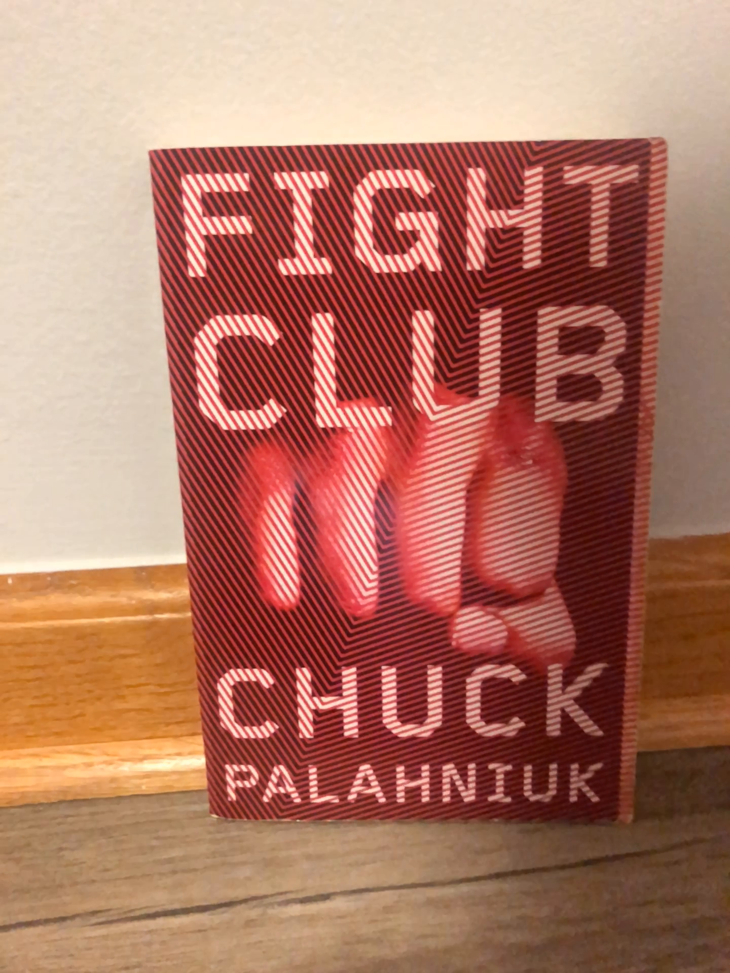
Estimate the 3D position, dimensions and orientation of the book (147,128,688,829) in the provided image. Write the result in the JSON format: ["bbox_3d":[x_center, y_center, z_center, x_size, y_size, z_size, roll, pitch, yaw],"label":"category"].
[{"bbox_3d":[0.015,0.006,0.252,0.138,0.210,0.030,-1,16,1],"label":"book"}]
